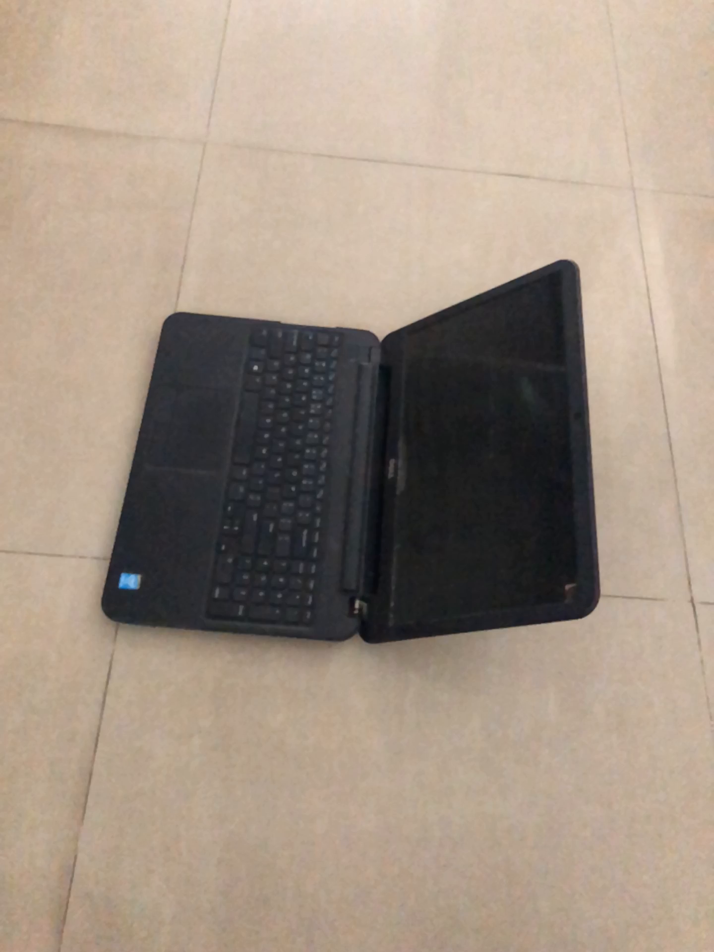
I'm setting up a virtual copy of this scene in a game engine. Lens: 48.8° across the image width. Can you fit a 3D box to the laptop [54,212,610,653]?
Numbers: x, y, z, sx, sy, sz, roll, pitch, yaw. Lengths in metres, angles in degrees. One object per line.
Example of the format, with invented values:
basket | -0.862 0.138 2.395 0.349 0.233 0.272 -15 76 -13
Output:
laptop | -0.011 -0.042 0.756 0.427 0.164 0.359 5 64 -1
